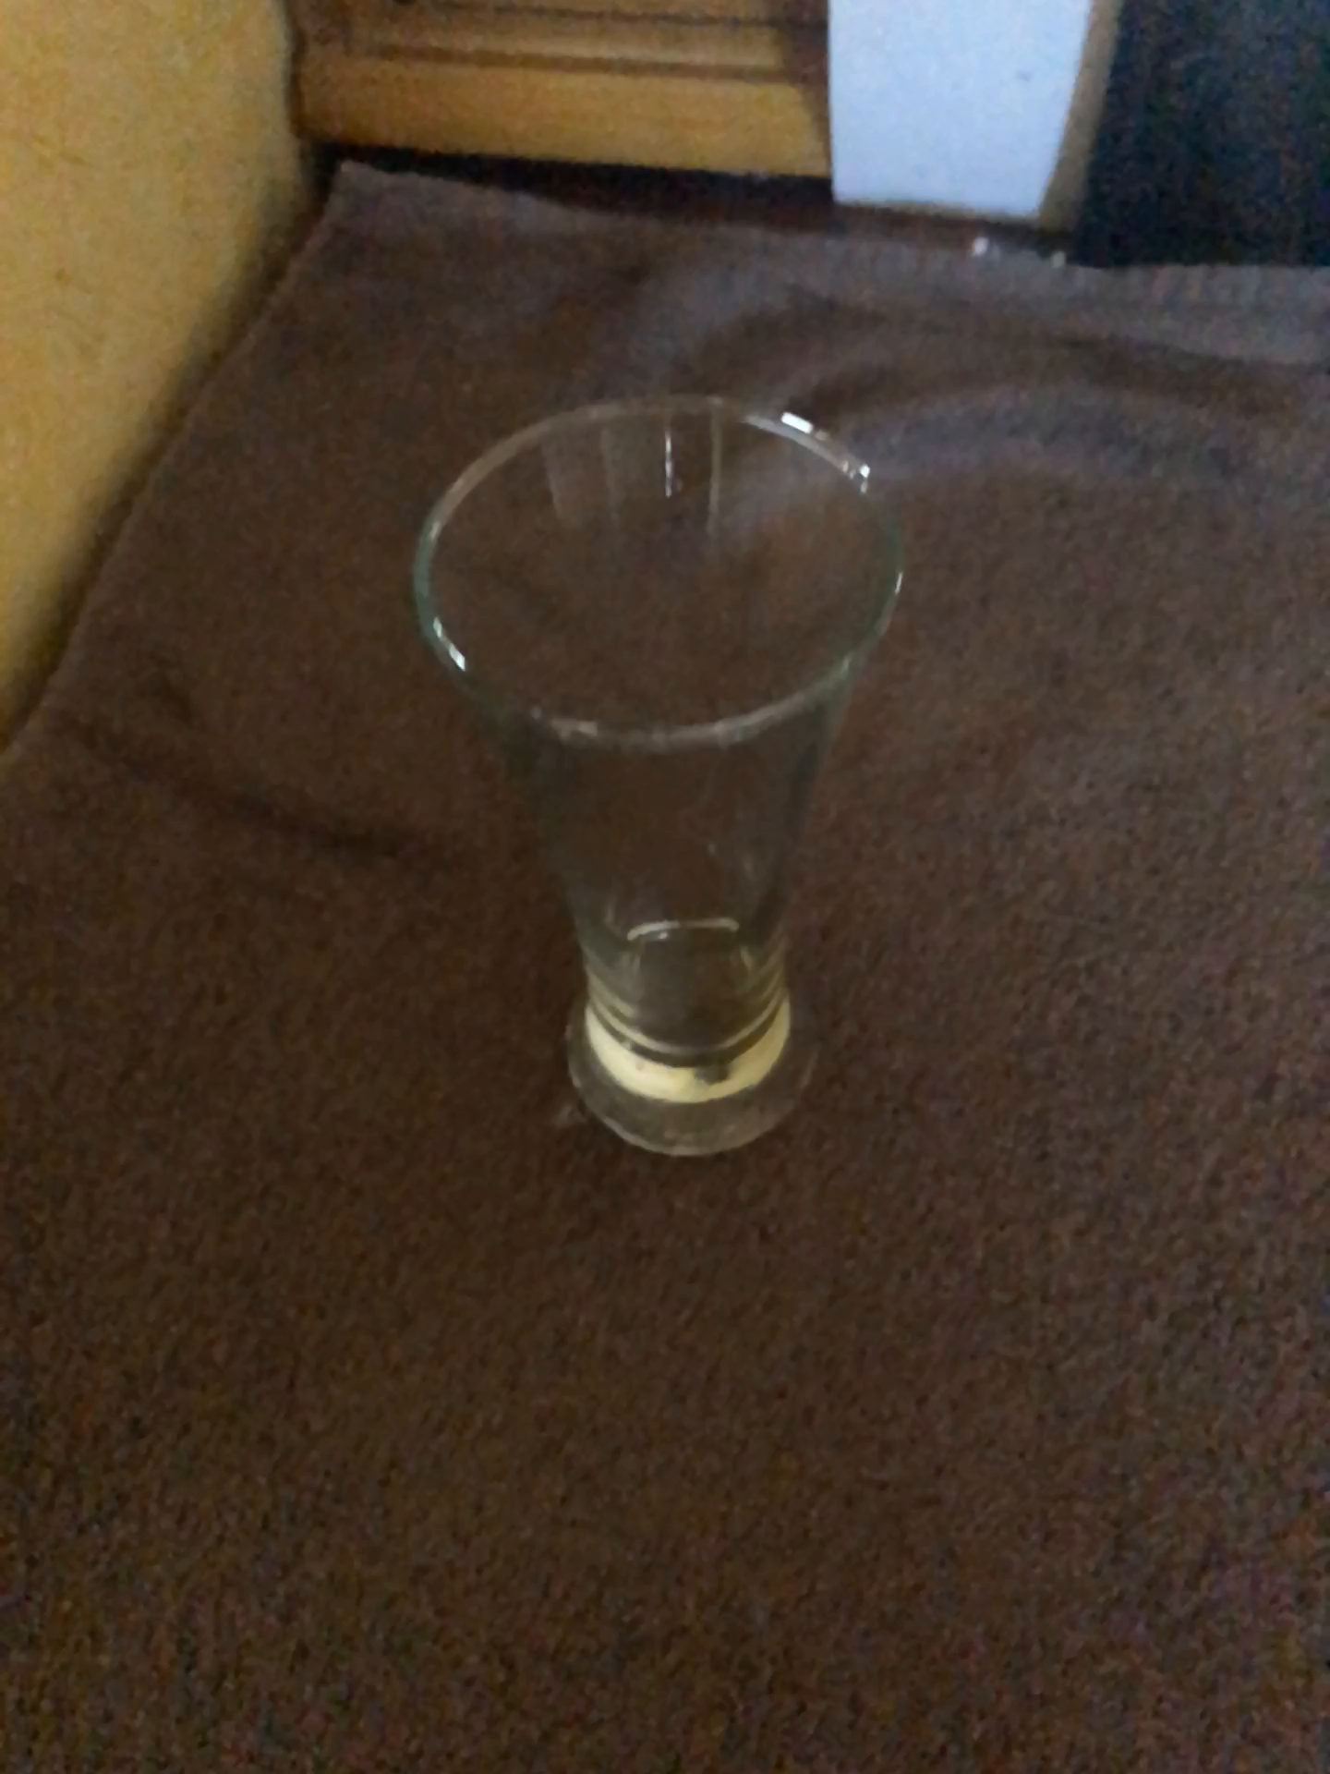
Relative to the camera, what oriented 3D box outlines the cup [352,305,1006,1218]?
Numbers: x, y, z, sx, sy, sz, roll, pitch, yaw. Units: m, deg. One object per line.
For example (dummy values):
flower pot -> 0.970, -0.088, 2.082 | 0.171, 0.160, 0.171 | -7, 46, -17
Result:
cup -> 0.001, -0.012, 0.275 | 0.080, 0.149, 0.080 | -1, 56, 2
